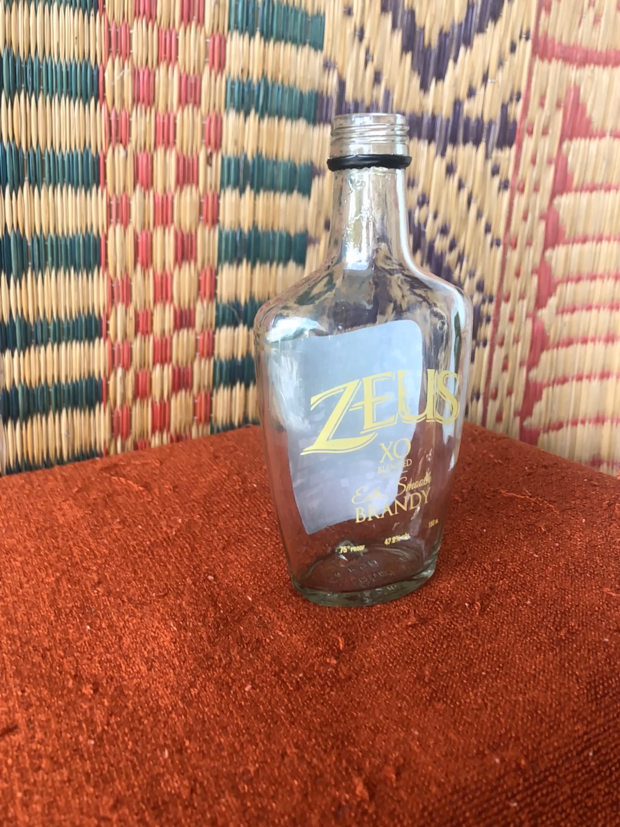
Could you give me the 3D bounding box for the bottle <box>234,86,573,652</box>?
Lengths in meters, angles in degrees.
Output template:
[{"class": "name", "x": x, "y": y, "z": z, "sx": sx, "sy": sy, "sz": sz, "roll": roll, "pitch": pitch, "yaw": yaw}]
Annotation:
[{"class": "bottle", "x": 0.023, "y": -0.012, "z": 0.211, "sx": 0.080, "sy": 0.149, "sz": 0.040, "roll": -7, "pitch": 21, "yaw": -27}]
